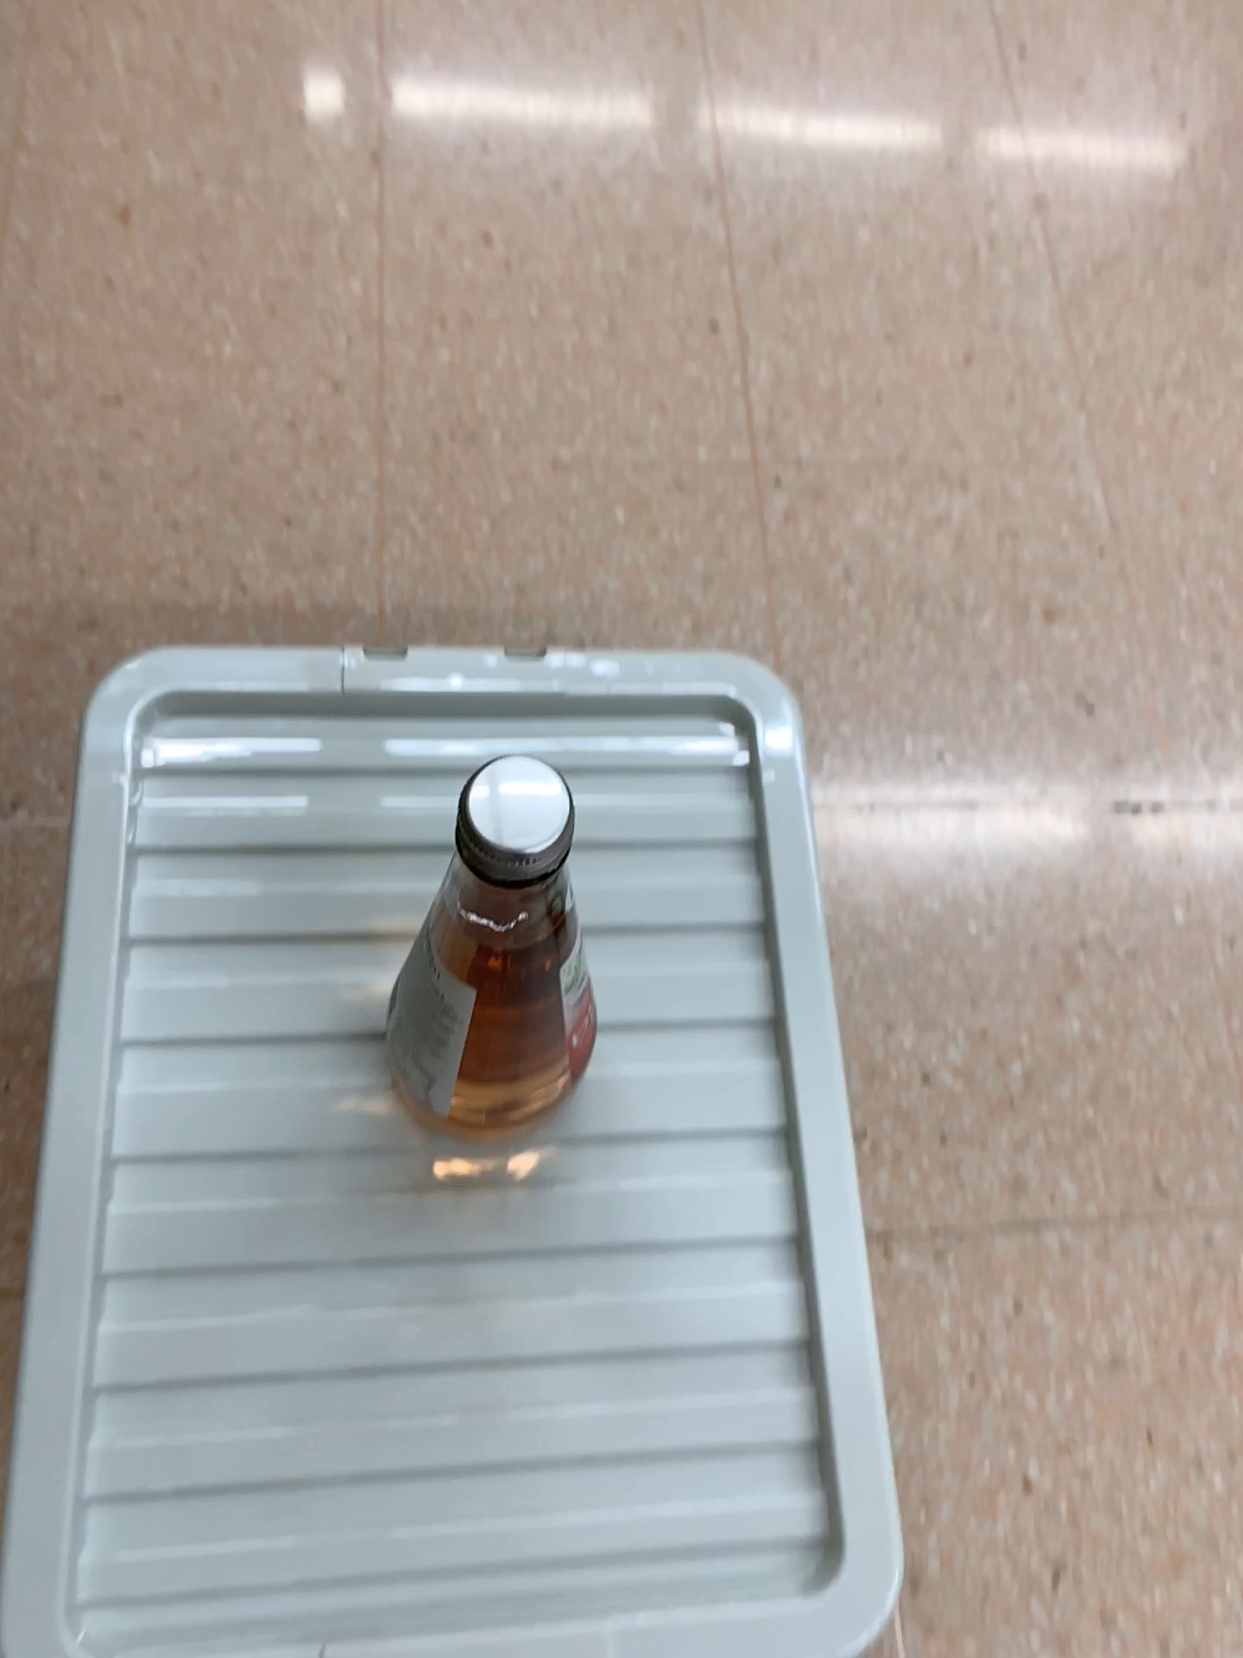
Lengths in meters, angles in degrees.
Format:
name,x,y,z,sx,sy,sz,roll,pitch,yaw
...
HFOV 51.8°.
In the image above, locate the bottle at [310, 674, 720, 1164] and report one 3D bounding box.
name,x,y,z,sx,sy,sz,roll,pitch,yaw
bottle,-0.045,0.054,0.445,0.090,0.300,0.081,-4,70,-9
